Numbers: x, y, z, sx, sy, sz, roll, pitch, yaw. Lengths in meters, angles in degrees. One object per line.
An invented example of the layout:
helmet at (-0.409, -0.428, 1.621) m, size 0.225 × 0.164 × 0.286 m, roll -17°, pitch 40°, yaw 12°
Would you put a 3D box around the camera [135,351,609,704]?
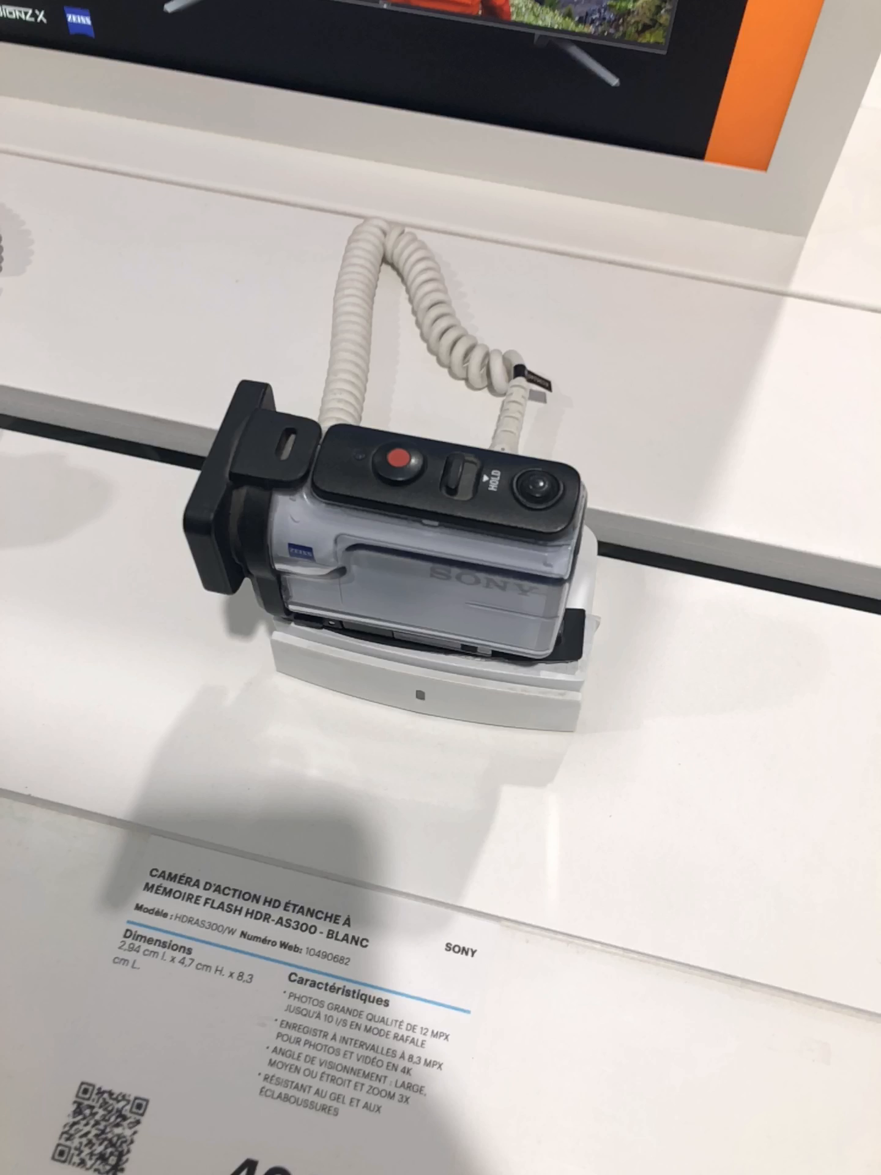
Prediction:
camera at (-0.013, -0.014, 0.230) m, size 0.093 × 0.044 × 0.049 m, roll 11°, pitch 56°, yaw 6°
